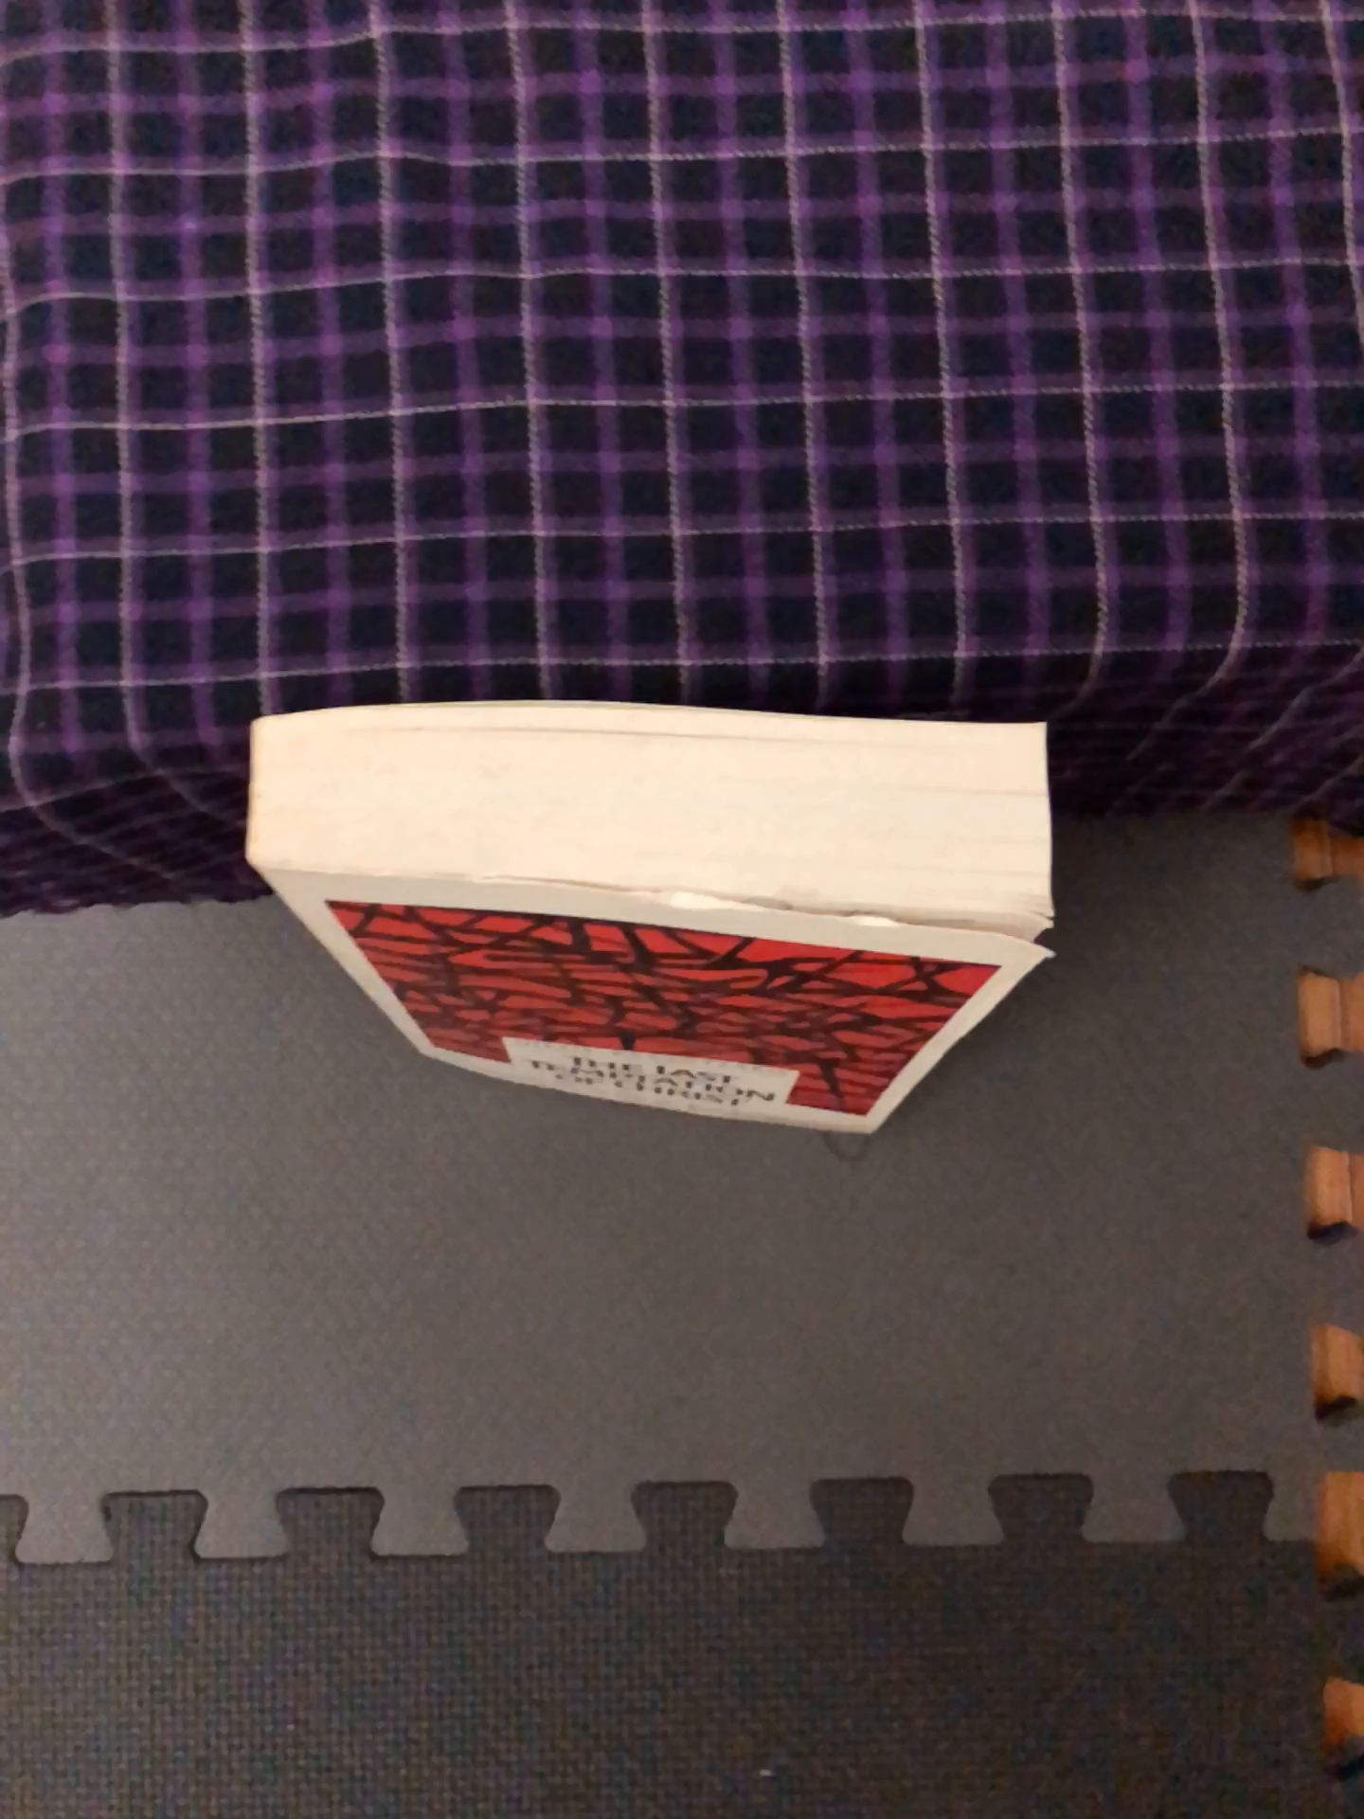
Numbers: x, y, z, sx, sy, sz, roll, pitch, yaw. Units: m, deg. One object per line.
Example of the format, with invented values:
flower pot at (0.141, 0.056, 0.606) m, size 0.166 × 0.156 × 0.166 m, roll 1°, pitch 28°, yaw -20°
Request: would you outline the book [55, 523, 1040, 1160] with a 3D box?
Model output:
book at (-0.019, 0.003, 0.343) m, size 0.150 × 0.210 × 0.050 m, roll 14°, pitch 76°, yaw 5°
